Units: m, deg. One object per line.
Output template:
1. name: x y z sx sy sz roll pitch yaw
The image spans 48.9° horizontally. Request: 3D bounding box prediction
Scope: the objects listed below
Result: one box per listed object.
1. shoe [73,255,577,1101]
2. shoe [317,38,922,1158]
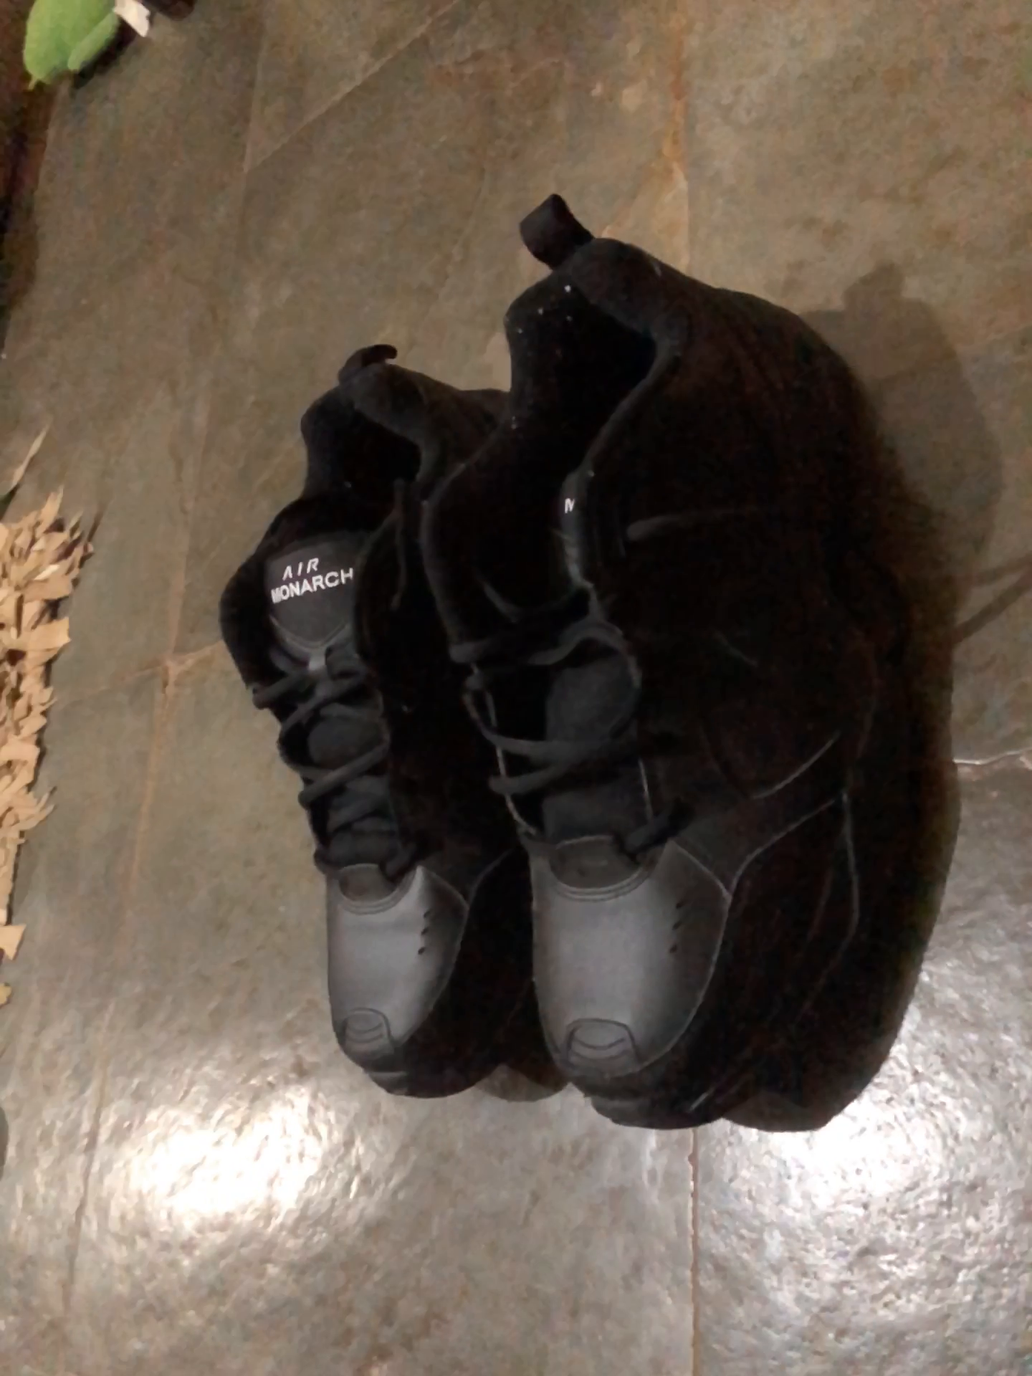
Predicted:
1. shoe: -0.062 0.004 0.434 0.120 0.110 0.281 -15 63 40
2. shoe: 0.037 -0.021 0.356 0.120 0.110 0.301 -13 64 40
